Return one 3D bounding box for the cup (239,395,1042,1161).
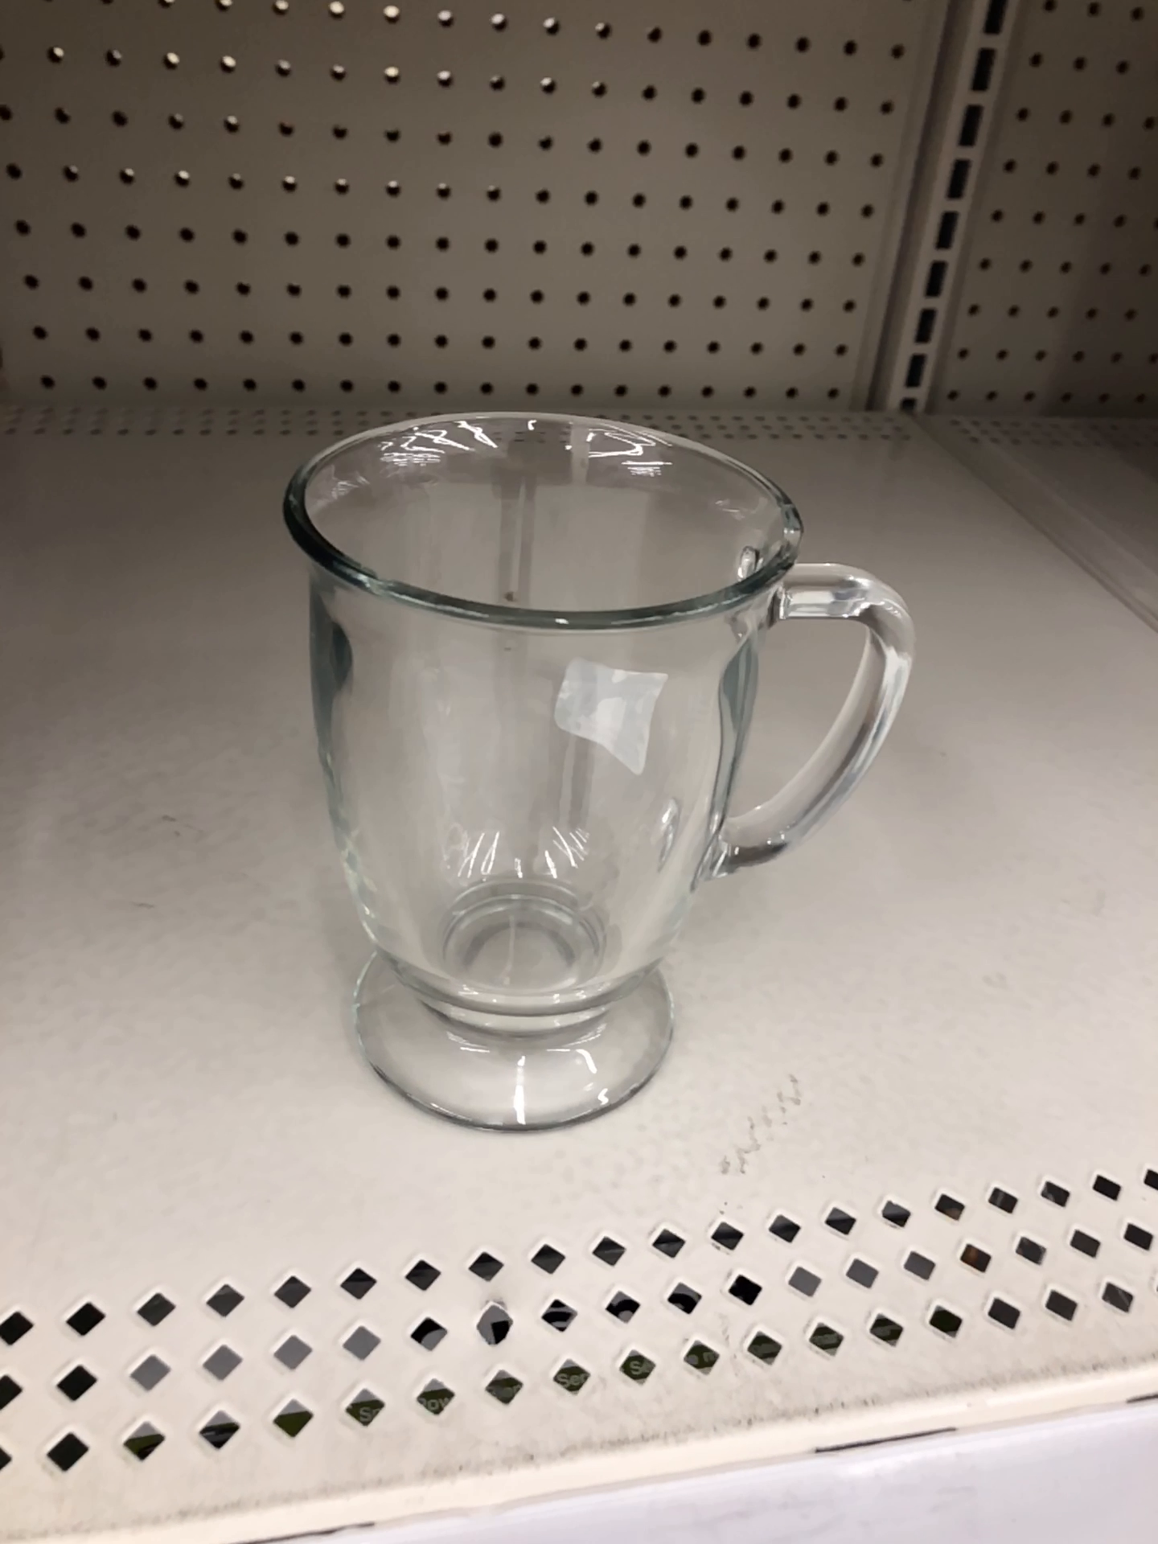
[{"bbox_3d":[0.001,-0.005,0.295,0.138,0.128,0.110,-3,34,-11],"label":"cup"}]
